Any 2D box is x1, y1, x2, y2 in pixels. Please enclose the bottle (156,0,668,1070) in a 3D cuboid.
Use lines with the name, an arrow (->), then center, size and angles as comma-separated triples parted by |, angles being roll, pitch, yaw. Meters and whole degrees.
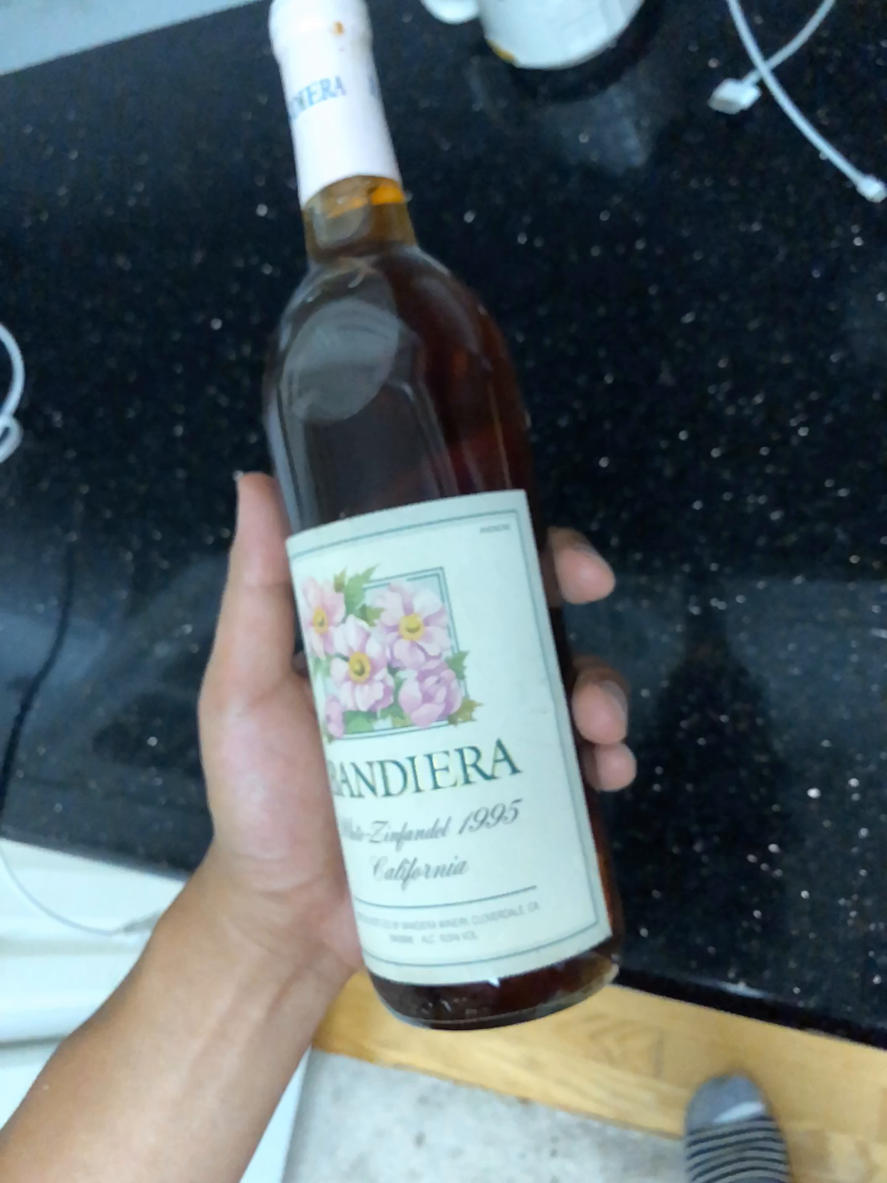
bottle -> -0.007, -0.029, 0.291 | 0.080, 0.070, 0.300 | -10, 87, 24
